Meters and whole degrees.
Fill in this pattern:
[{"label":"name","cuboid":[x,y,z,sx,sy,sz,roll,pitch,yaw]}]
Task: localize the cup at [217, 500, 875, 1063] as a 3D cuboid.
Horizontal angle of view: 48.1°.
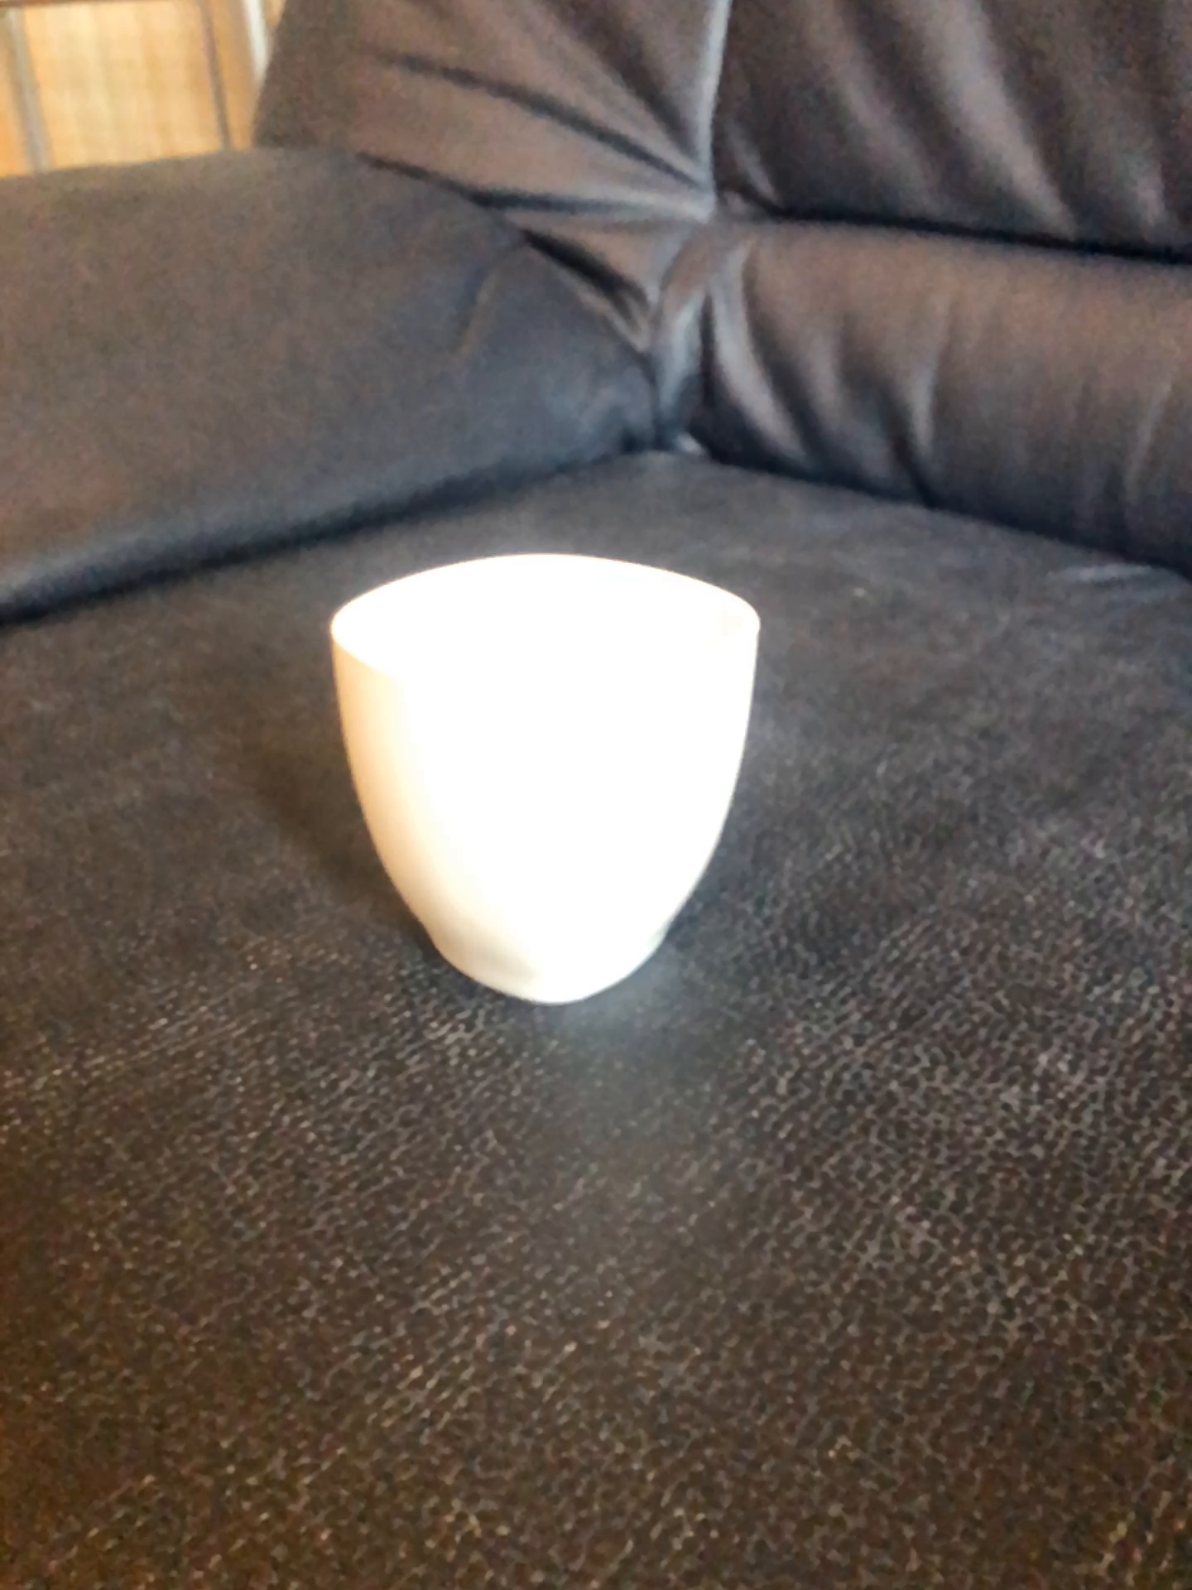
[{"label":"cup","cuboid":[-0.008,-0.012,0.276,0.101,0.063,0.080,-25,37,-38]}]
